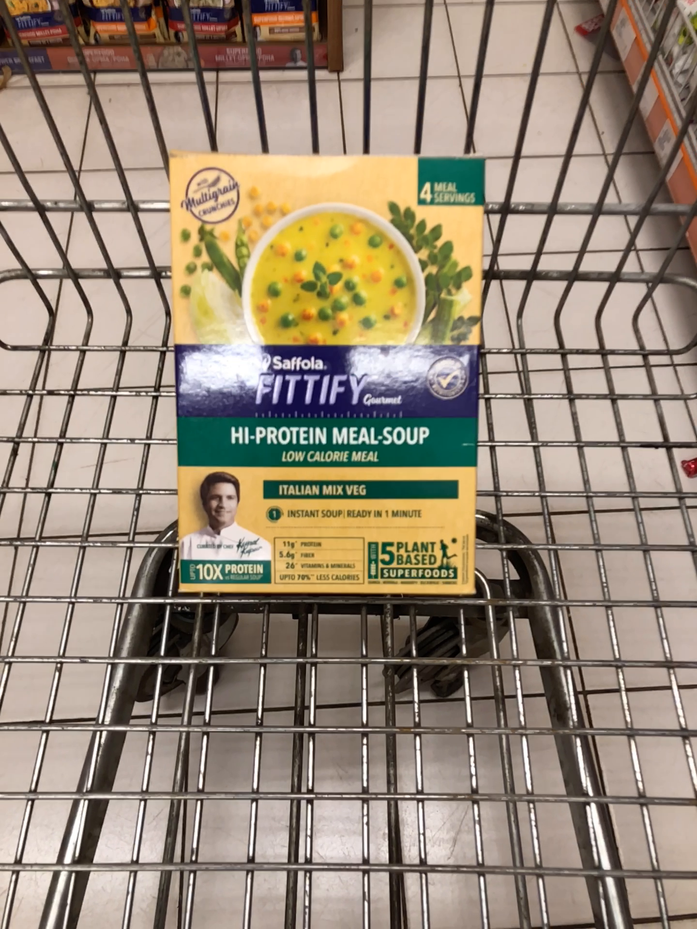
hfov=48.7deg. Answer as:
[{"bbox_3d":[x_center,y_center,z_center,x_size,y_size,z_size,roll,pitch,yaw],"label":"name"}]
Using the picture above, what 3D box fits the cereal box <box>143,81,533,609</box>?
[{"bbox_3d":[-0.004,-0.043,0.311,0.130,0.090,0.180,0,96,0],"label":"cereal box"}]
